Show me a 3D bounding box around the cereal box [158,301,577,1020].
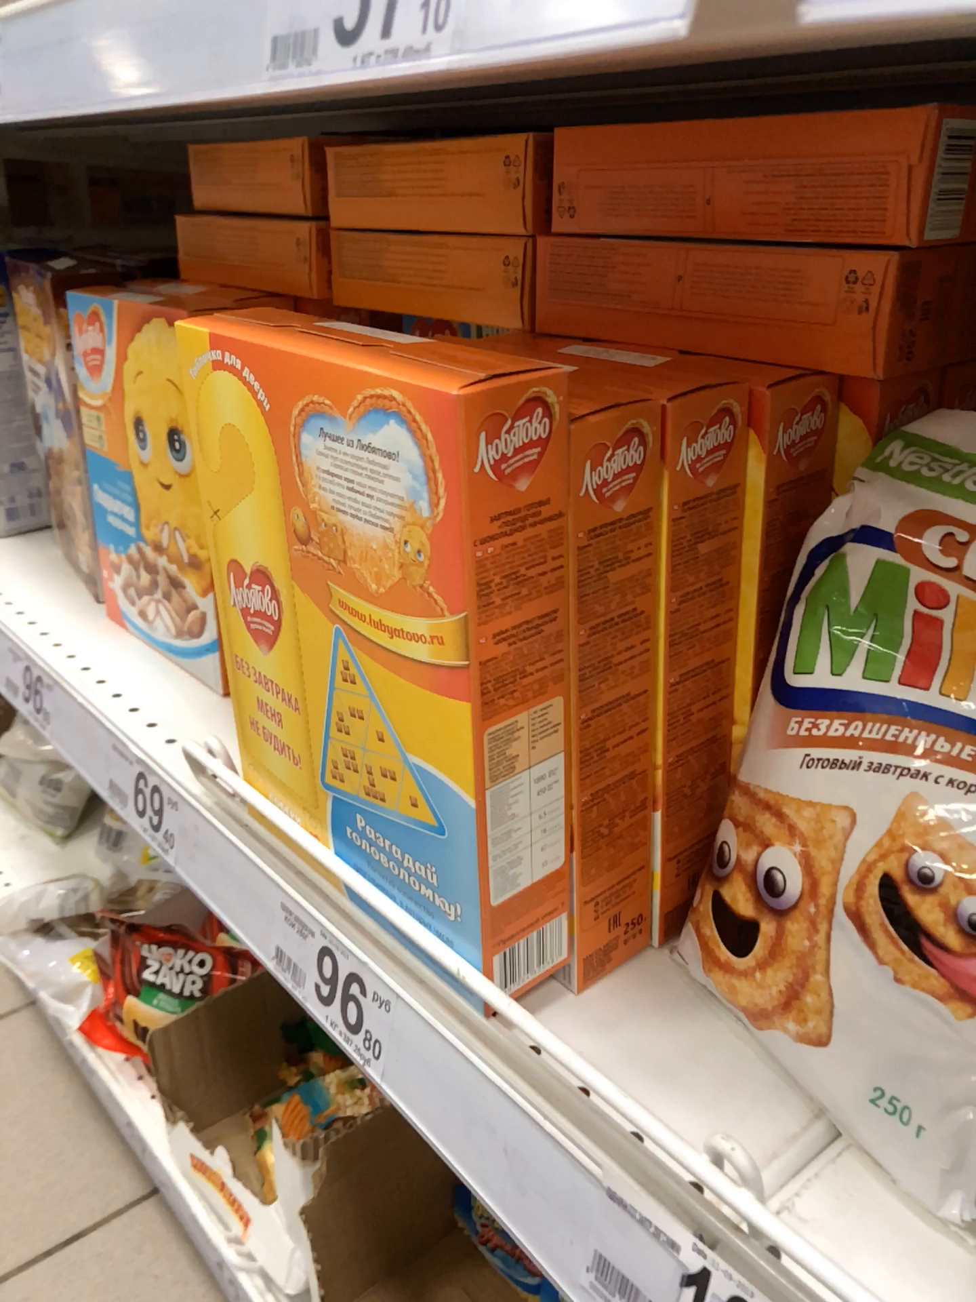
[{"bbox_3d":[-0.047,-0.006,0.418,0.050,0.229,0.181,-21,32,-35],"label":"cereal box"}]
